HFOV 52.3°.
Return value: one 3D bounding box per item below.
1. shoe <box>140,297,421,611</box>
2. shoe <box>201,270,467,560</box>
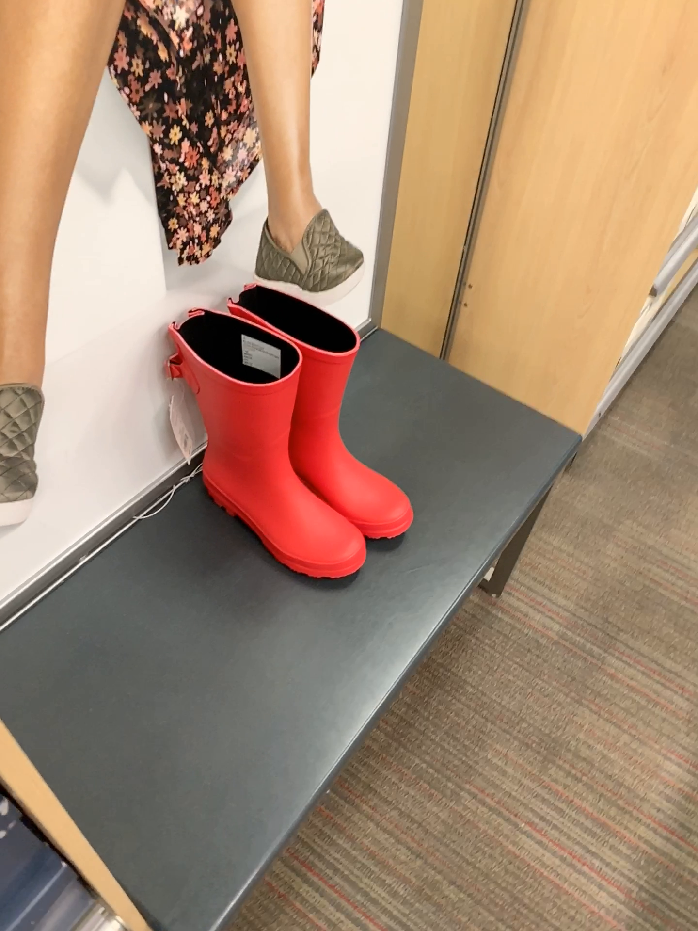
[{"bbox_3d":[-0.081,-0.009,0.800,0.270,0.249,0.106,29,52,19],"label":"shoe"},{"bbox_3d":[-0.027,-0.056,0.855,0.270,0.249,0.106,26,51,17],"label":"shoe"}]
